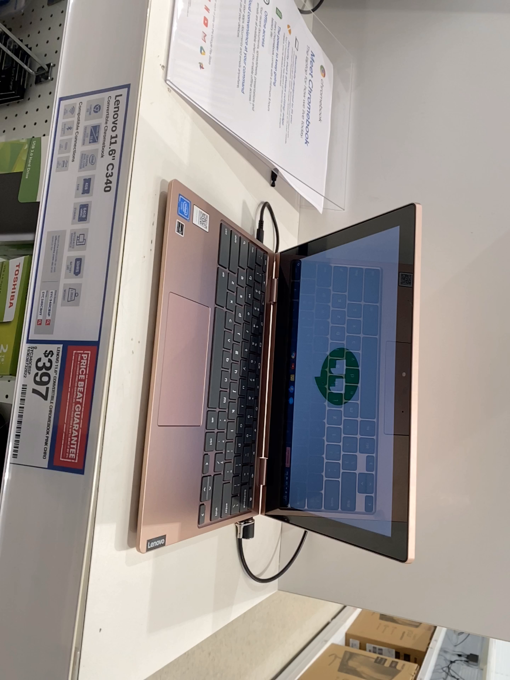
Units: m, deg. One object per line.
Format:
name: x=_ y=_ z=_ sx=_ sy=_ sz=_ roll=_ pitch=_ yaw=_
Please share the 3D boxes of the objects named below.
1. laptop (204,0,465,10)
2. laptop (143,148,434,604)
laptop: x=0.111 y=-0.607 z=0.558 sx=0.266 sy=0.192 sz=0.310 roll=20 pitch=72 yaw=-63
laptop: x=0.047 y=0.031 z=0.444 sx=0.197 sy=0.168 sz=0.280 roll=18 pitch=74 yaw=-63
